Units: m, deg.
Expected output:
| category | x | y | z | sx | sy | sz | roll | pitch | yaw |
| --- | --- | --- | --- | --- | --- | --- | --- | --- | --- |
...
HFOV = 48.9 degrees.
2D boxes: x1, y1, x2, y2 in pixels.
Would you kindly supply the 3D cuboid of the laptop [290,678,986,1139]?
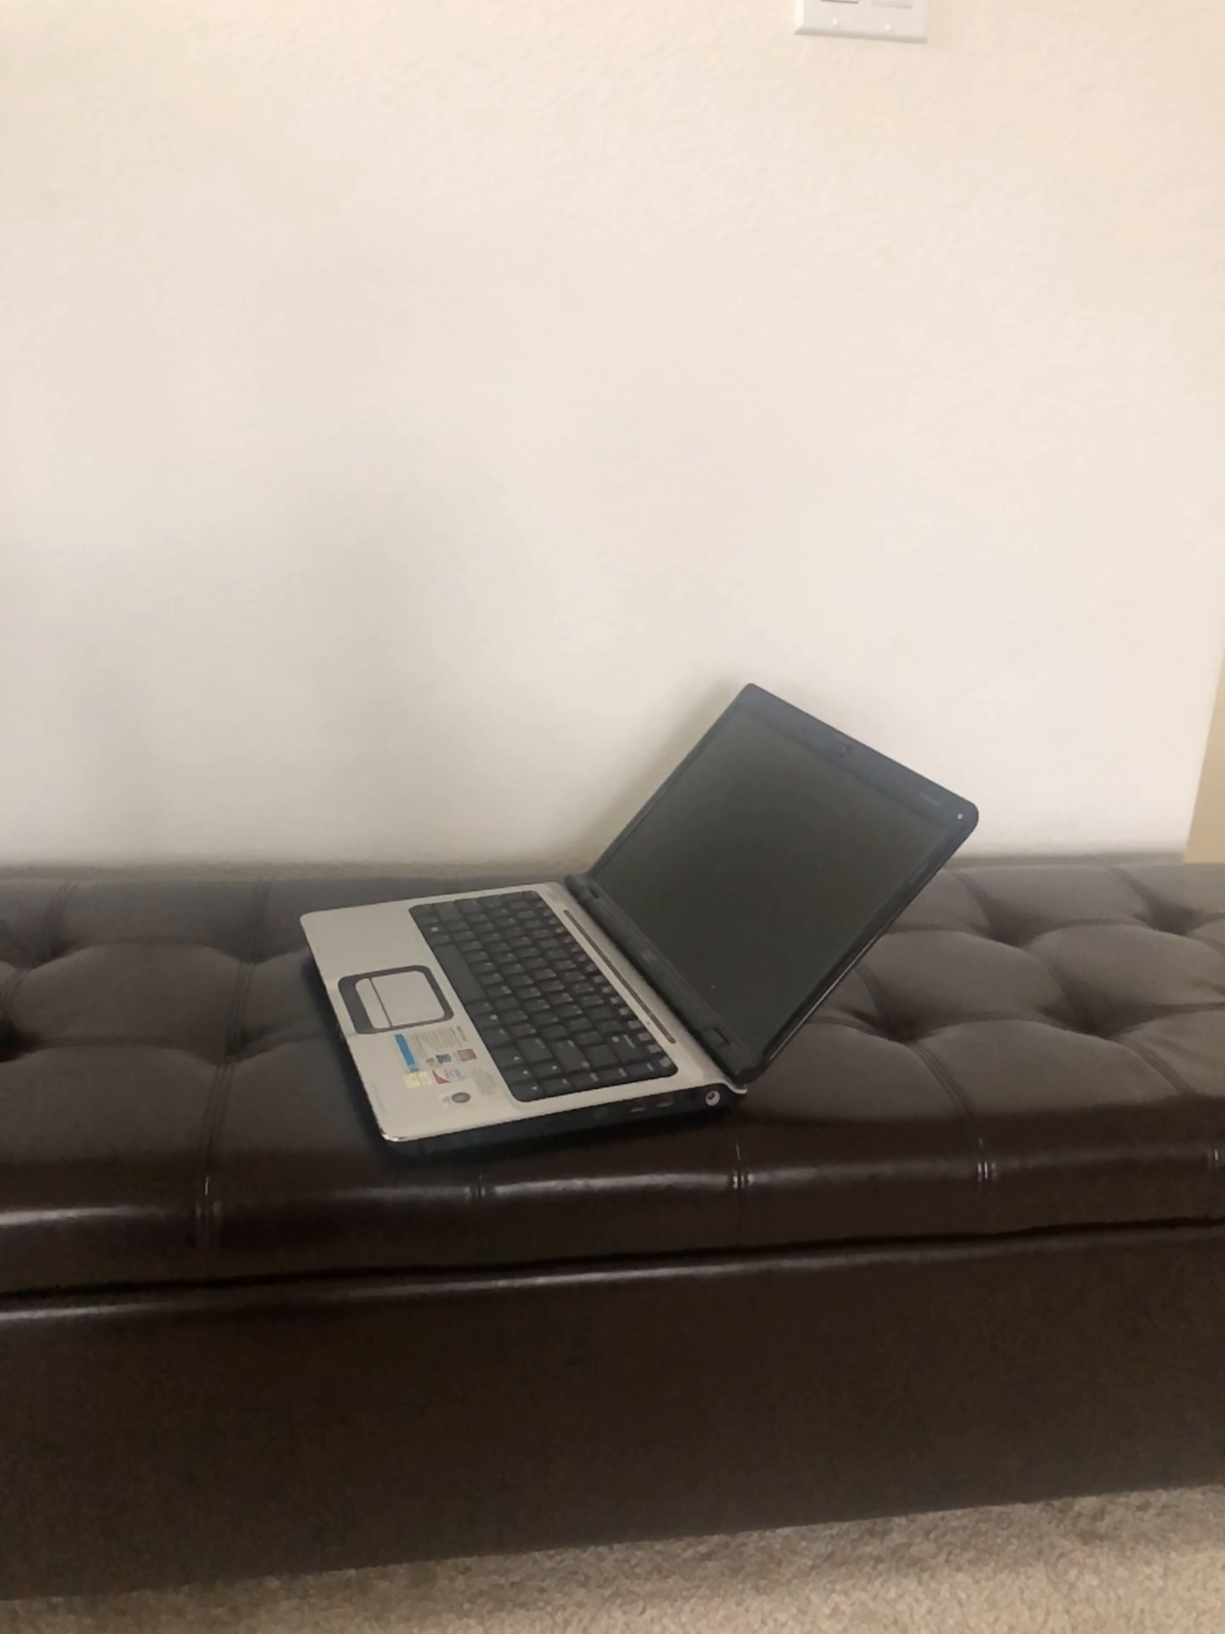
| category | x | y | z | sx | sy | sz | roll | pitch | yaw |
| --- | --- | --- | --- | --- | --- | --- | --- | --- | --- |
| laptop | -0.005 | 0.032 | 0.943 | 0.381 | 0.161 | 0.327 | -6 | 21 | -21 |
